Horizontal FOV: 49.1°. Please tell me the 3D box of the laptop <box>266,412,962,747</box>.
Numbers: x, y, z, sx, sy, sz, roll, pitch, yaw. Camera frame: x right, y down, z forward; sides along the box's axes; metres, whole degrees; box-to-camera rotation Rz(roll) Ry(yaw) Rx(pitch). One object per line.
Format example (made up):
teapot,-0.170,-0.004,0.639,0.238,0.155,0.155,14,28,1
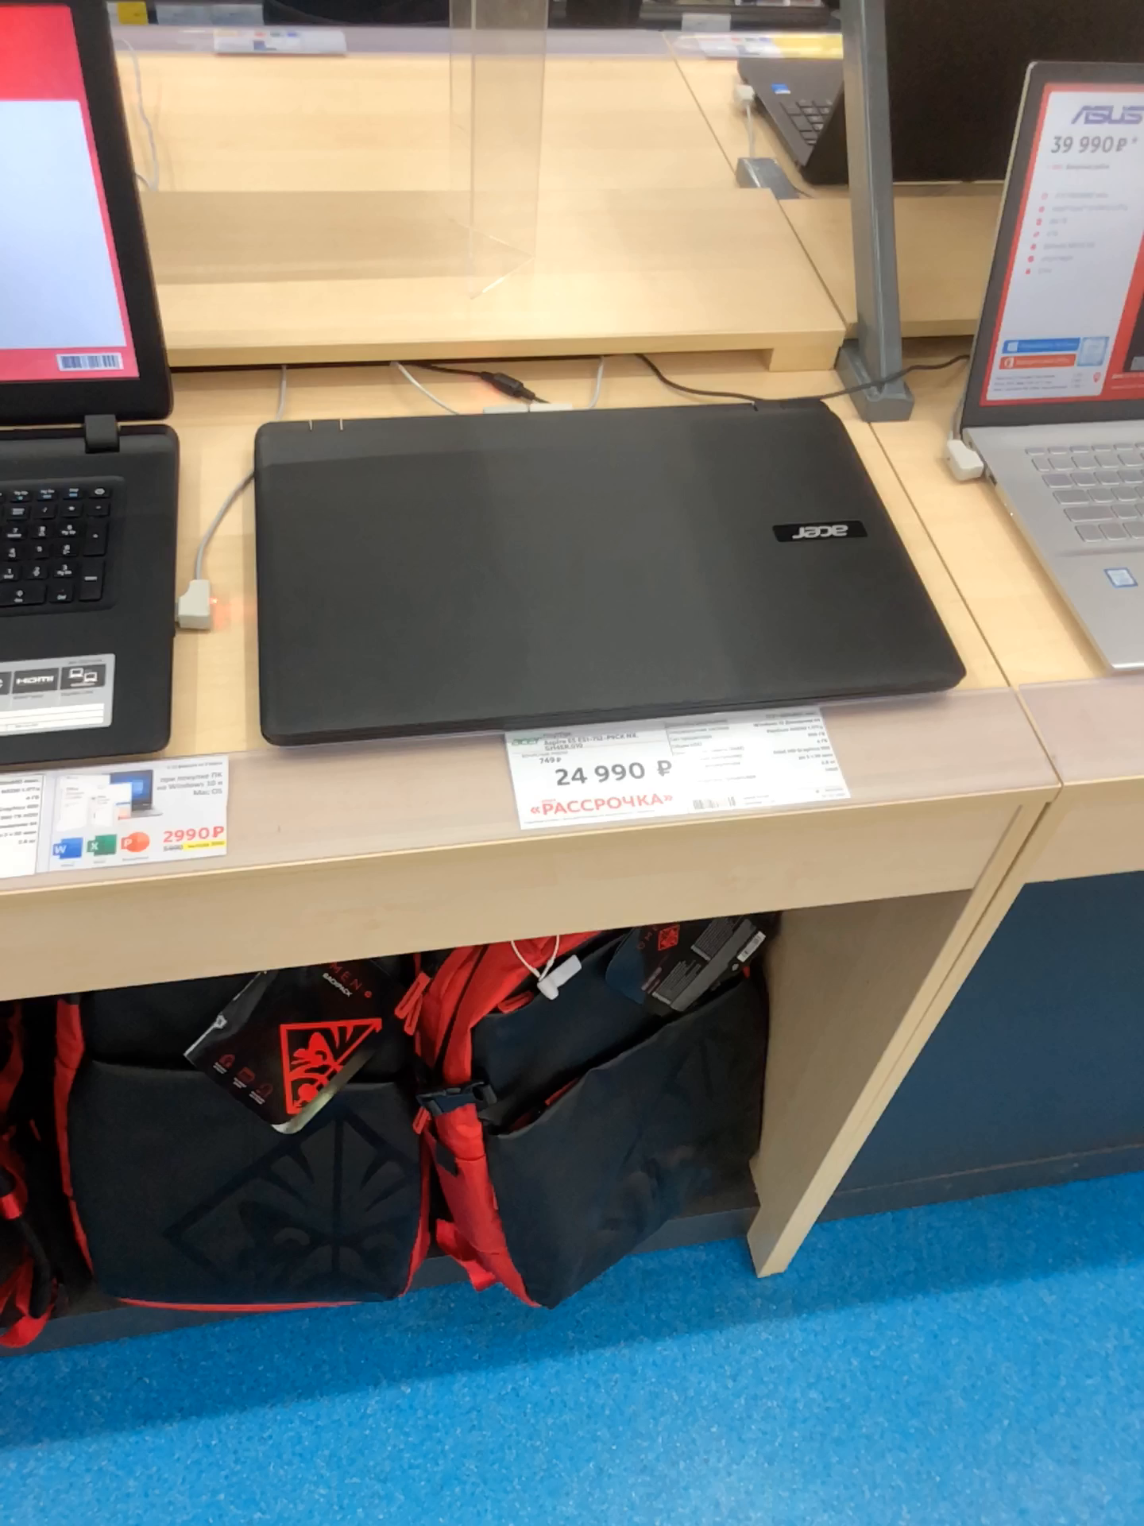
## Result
laptop,0.014,-0.135,0.812,0.410,0.005,0.279,-5,51,-11
